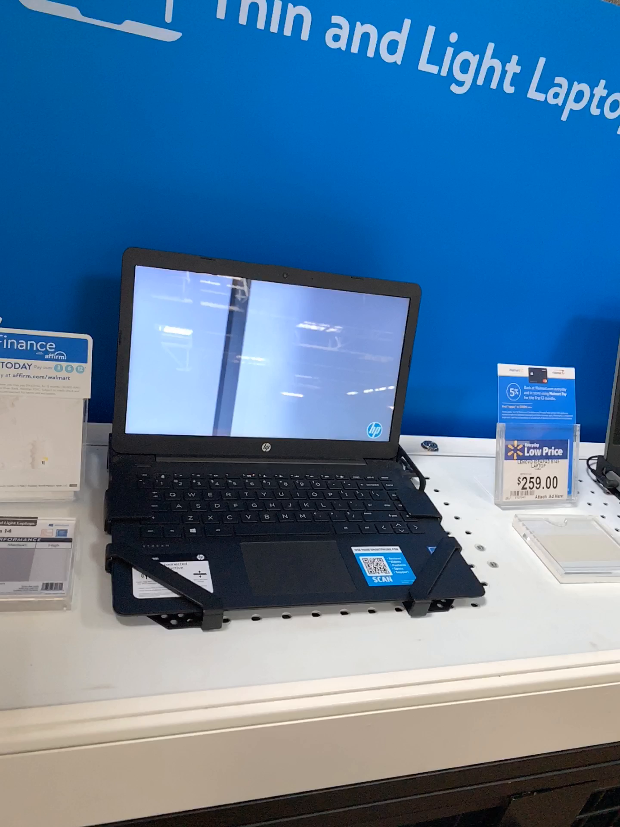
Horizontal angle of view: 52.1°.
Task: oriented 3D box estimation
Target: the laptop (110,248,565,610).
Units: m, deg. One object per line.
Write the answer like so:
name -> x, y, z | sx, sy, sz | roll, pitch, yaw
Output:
laptop -> -0.011, 0.001, 0.600 | 0.326, 0.203, 0.270 | 3, 28, -20
